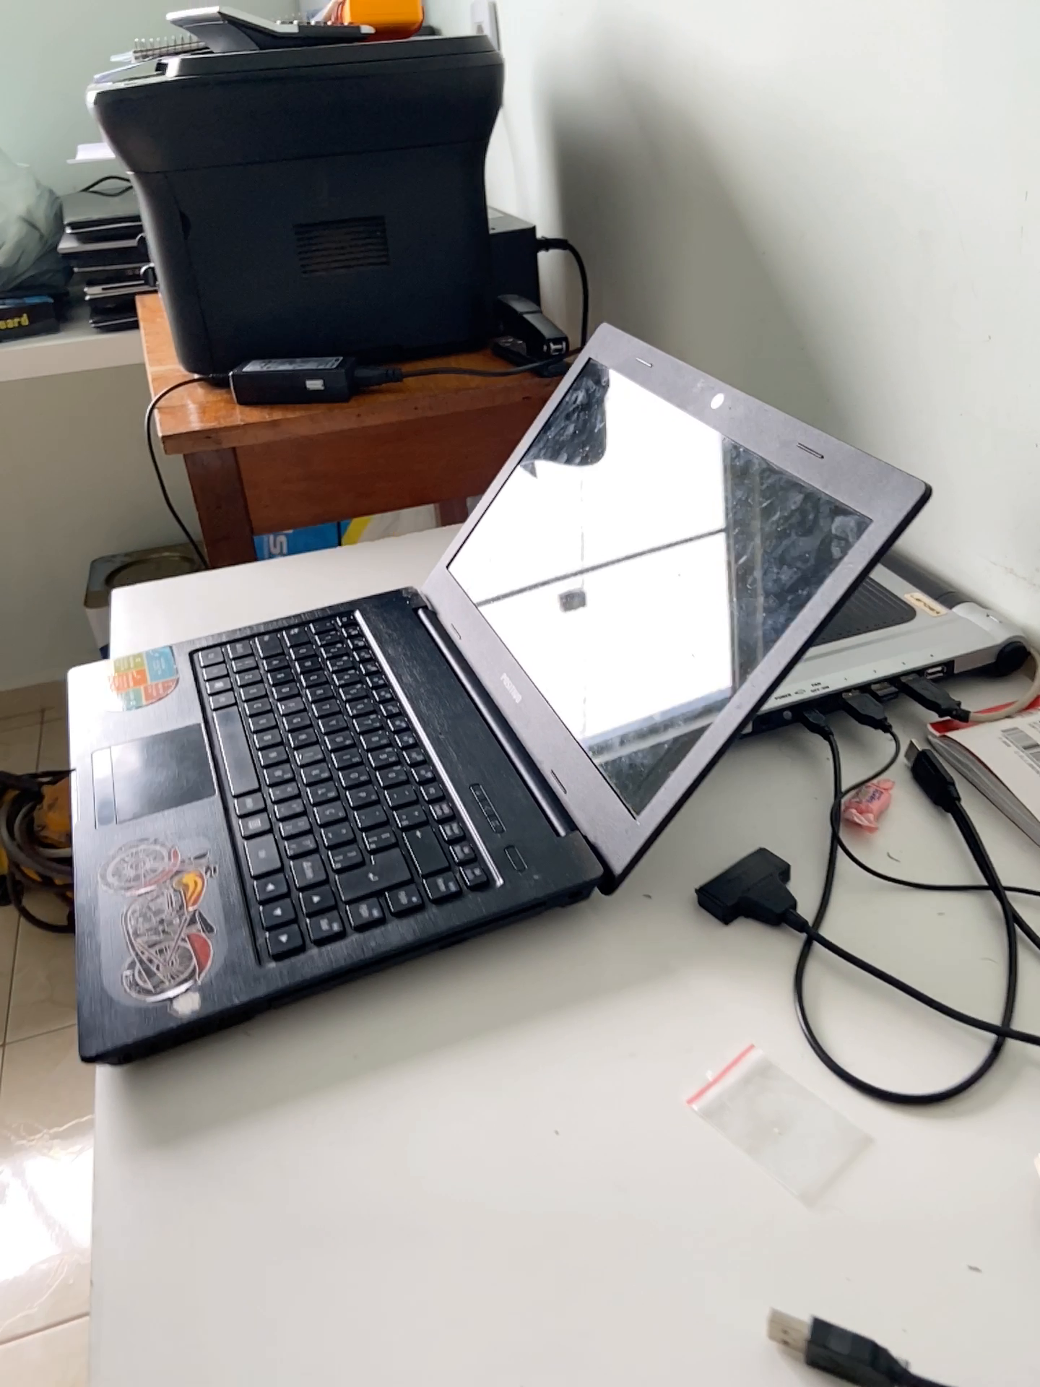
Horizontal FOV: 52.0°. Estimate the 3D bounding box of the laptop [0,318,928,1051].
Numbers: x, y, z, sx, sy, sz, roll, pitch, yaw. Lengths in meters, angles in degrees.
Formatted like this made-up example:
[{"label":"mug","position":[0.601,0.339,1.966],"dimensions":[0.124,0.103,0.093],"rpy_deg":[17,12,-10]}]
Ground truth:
[{"label":"laptop","position":[-0.062,-0.054,0.580],"dimensions":[0.393,0.162,0.336],"rpy_deg":[-15,34,-15]}]
